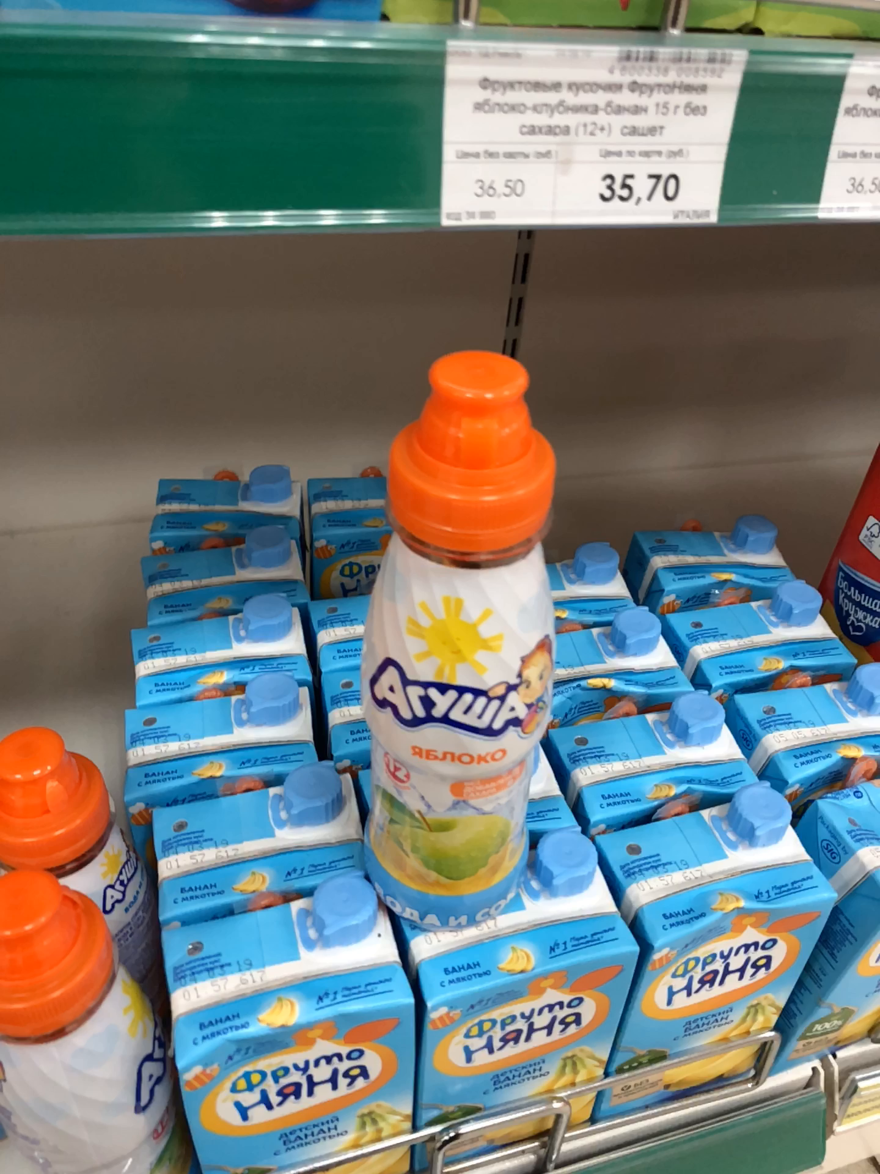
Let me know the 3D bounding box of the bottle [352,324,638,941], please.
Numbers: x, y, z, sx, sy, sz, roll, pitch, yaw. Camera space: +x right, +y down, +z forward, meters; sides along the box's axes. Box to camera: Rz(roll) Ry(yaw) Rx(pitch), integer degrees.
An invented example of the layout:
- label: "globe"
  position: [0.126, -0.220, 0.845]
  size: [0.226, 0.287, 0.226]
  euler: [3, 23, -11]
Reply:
- label: "bottle"
  position: [0.005, 0.026, 0.287]
  size: [0.056, 0.193, 0.053]
  euler: [4, 38, -3]
